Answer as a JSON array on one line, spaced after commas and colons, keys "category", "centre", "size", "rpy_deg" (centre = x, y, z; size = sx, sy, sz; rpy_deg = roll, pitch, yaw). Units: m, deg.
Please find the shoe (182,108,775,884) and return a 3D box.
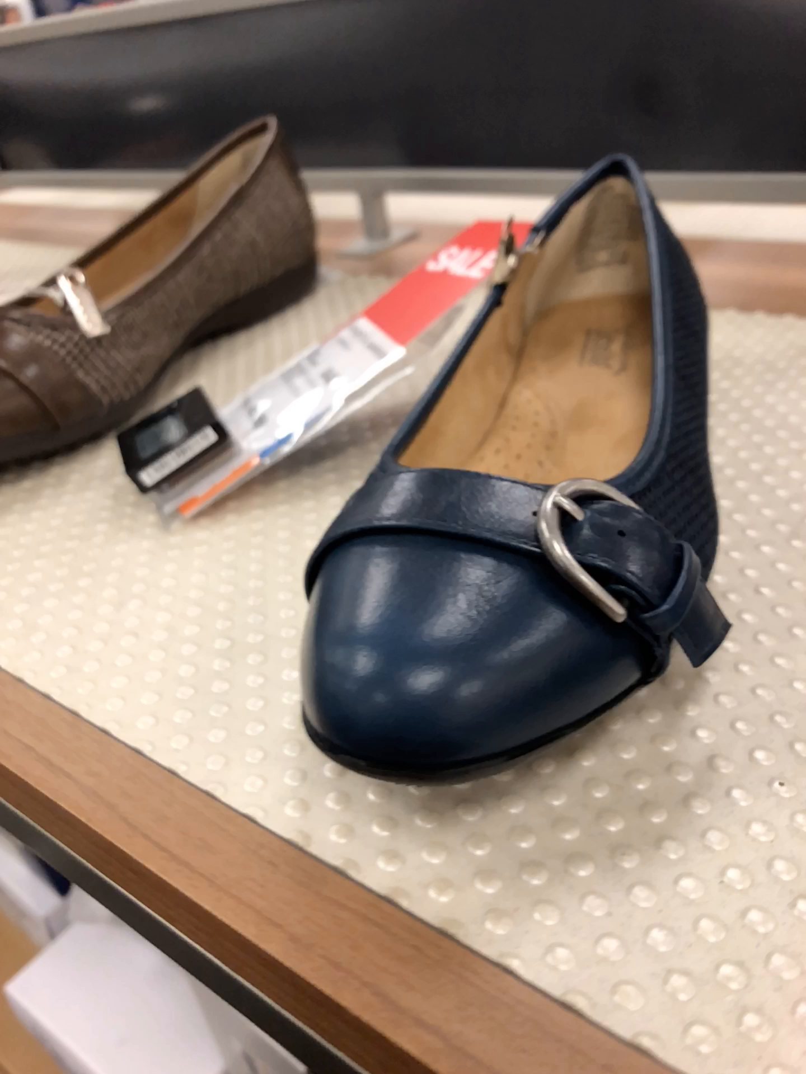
[{"category": "shoe", "centre": [0.056, -0.052, 0.262], "size": [0.088, 0.081, 0.280], "rpy_deg": [4, 34, 20]}]
